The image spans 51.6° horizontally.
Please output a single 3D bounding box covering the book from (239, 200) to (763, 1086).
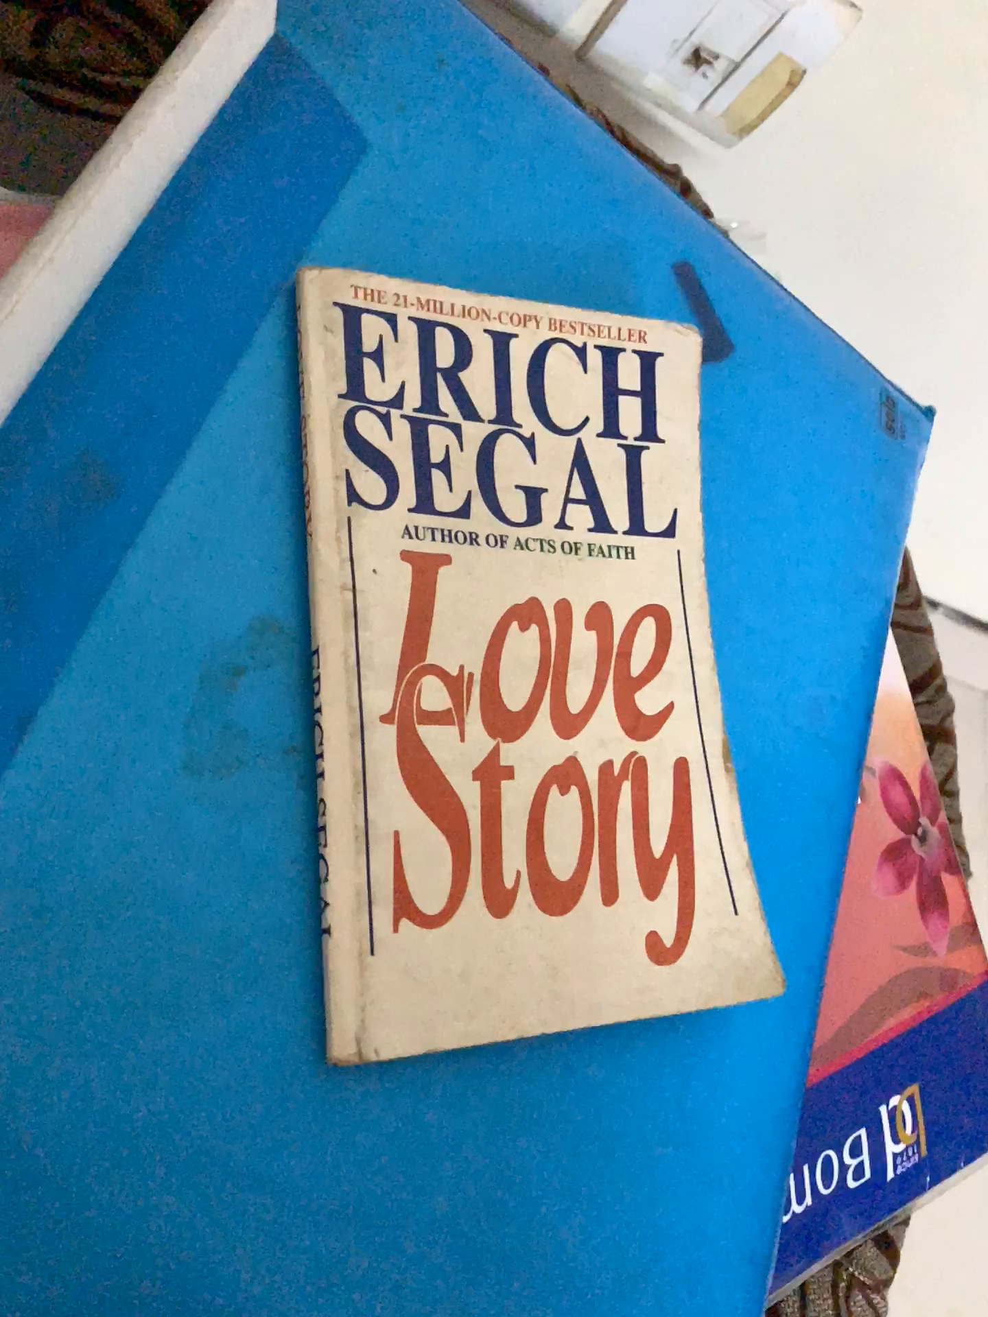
[{"bbox_3d":[0.001,-0.008,0.237,0.110,0.020,0.180,2,75,-30],"label":"book"}]
